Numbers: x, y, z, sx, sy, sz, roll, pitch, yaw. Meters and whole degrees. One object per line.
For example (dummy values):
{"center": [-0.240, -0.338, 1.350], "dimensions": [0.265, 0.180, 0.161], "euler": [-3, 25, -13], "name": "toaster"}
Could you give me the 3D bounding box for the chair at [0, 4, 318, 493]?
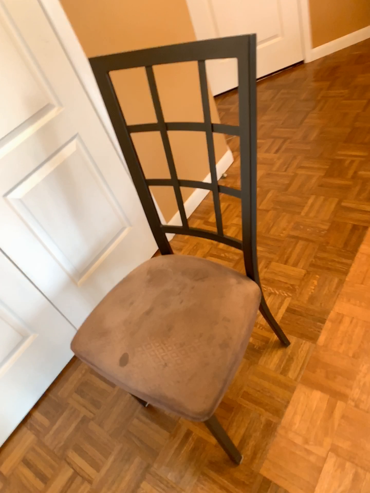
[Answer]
{"center": [-0.047, 0.073, 0.974], "dimensions": [0.512, 0.984, 0.621], "euler": [14, 51, 35], "name": "chair"}
